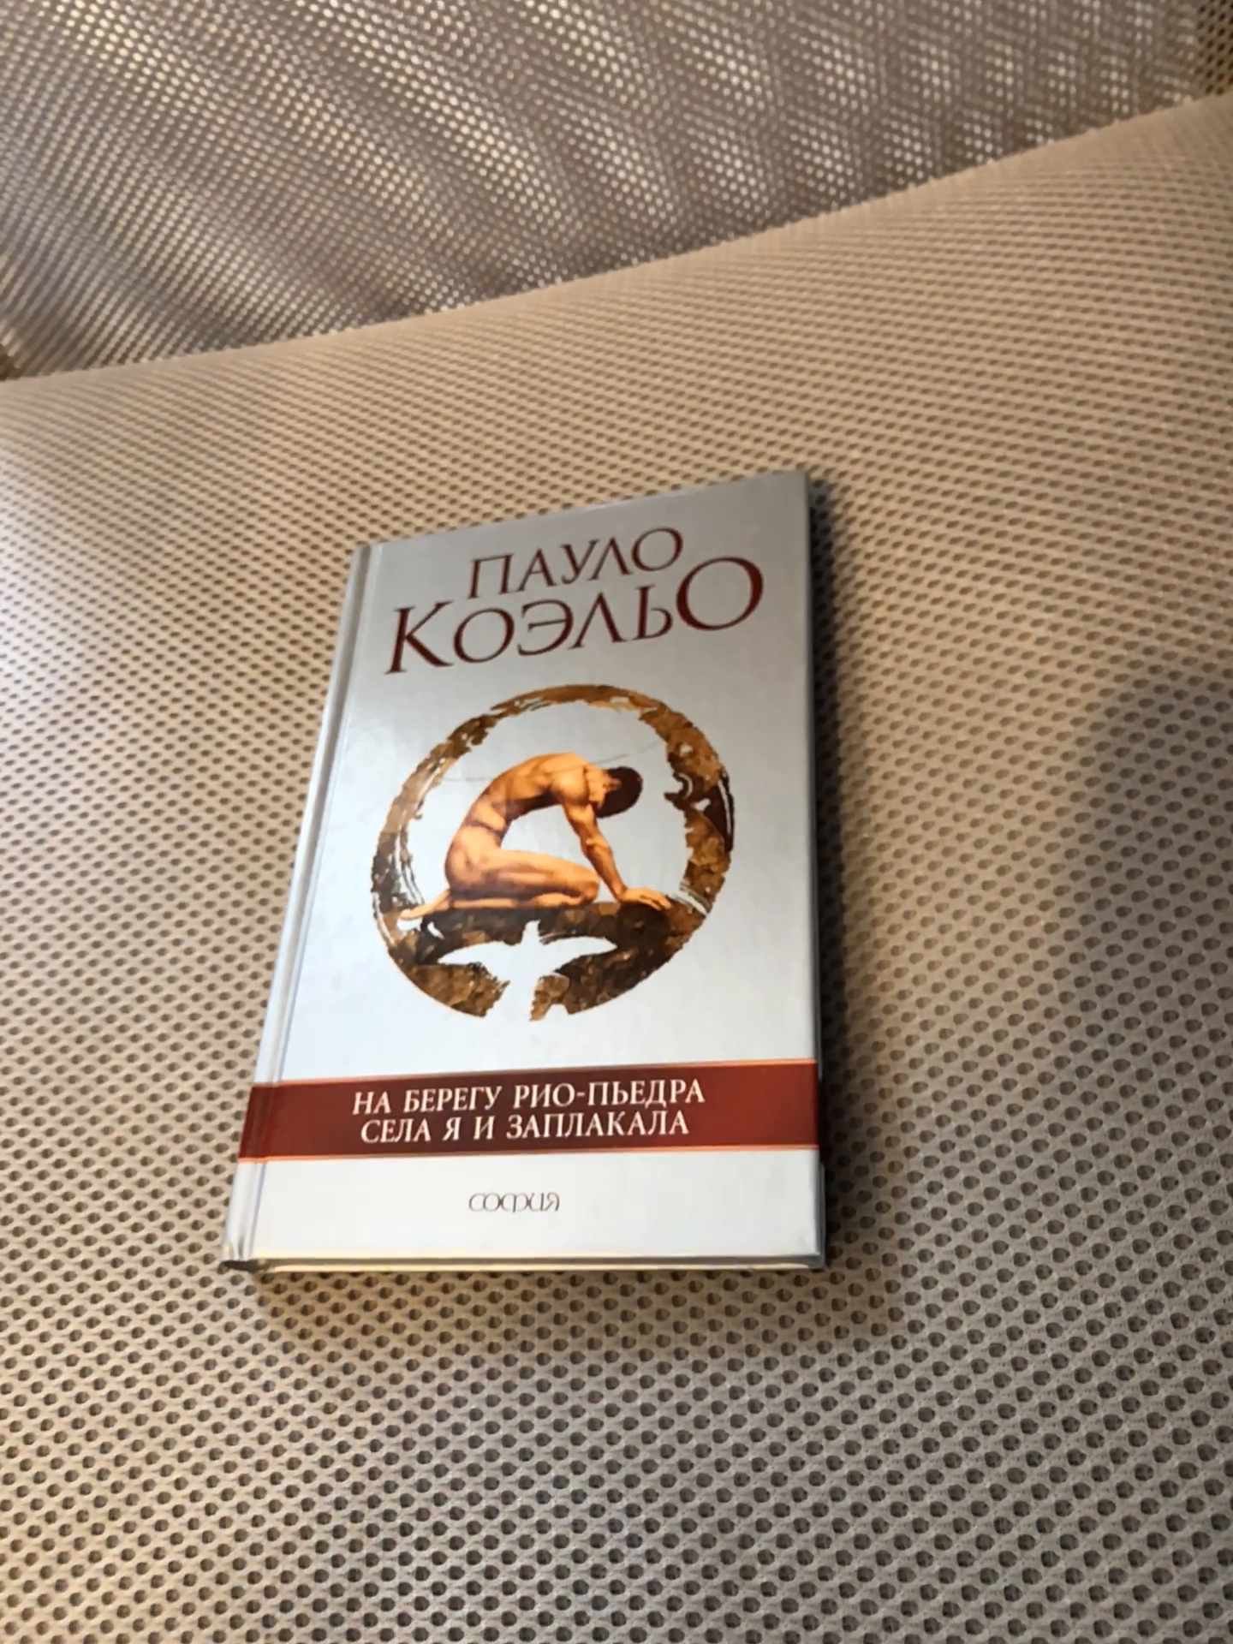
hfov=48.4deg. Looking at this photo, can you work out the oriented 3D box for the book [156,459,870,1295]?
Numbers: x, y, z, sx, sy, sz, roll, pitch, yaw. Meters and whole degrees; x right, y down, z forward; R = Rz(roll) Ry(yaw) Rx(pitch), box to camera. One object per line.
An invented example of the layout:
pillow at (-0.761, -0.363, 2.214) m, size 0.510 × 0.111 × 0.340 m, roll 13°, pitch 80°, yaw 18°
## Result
book at (-0.017, 0.007, 0.289) m, size 0.131 × 0.020 × 0.174 m, roll -5°, pitch 61°, yaw 16°
